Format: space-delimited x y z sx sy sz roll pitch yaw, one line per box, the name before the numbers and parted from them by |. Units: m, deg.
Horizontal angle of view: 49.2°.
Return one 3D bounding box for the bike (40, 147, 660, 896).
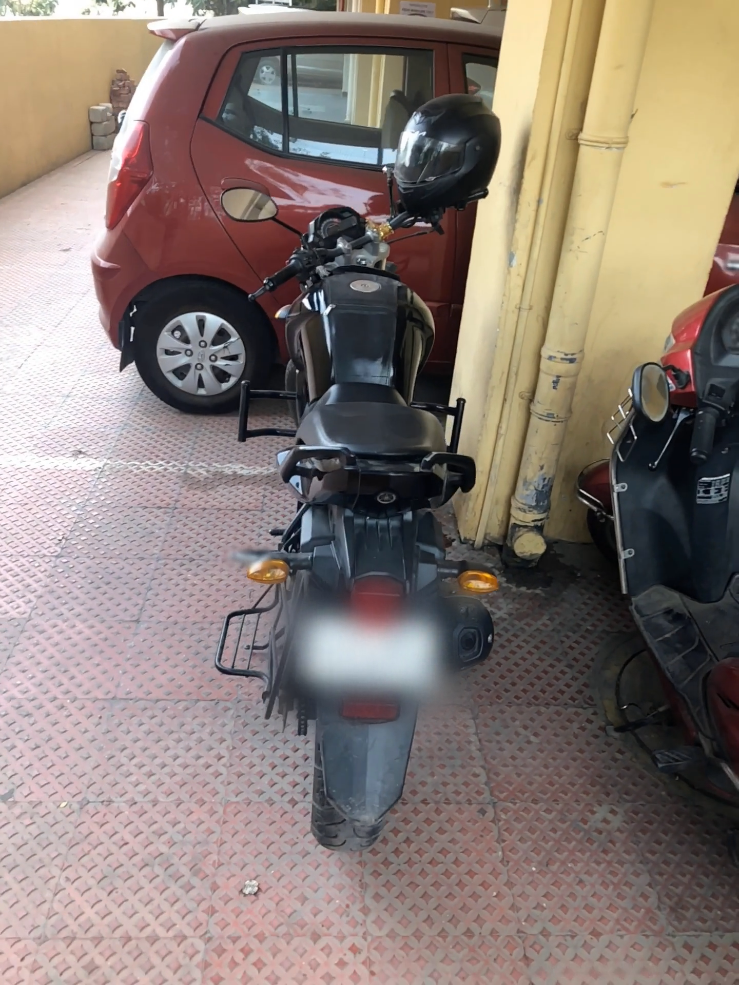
bike | -0.187 -0.156 1.984 0.739 1.025 1.792 1 29 -9
